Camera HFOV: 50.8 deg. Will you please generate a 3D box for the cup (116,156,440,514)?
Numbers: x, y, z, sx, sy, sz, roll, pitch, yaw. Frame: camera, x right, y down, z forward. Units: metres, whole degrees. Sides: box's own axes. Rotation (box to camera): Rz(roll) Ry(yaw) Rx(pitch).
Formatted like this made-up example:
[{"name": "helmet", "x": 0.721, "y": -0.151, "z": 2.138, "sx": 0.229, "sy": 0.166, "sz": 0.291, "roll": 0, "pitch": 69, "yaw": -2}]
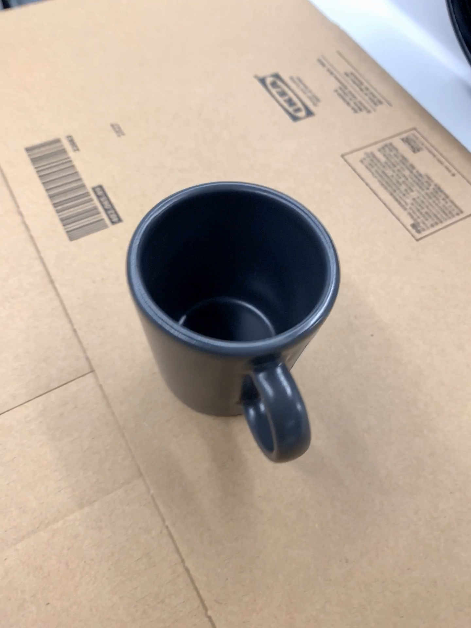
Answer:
[{"name": "cup", "x": 0.004, "y": 0.008, "z": 0.161, "sx": 0.060, "sy": 0.070, "sz": 0.080, "roll": -15, "pitch": 63, "yaw": -15}]
